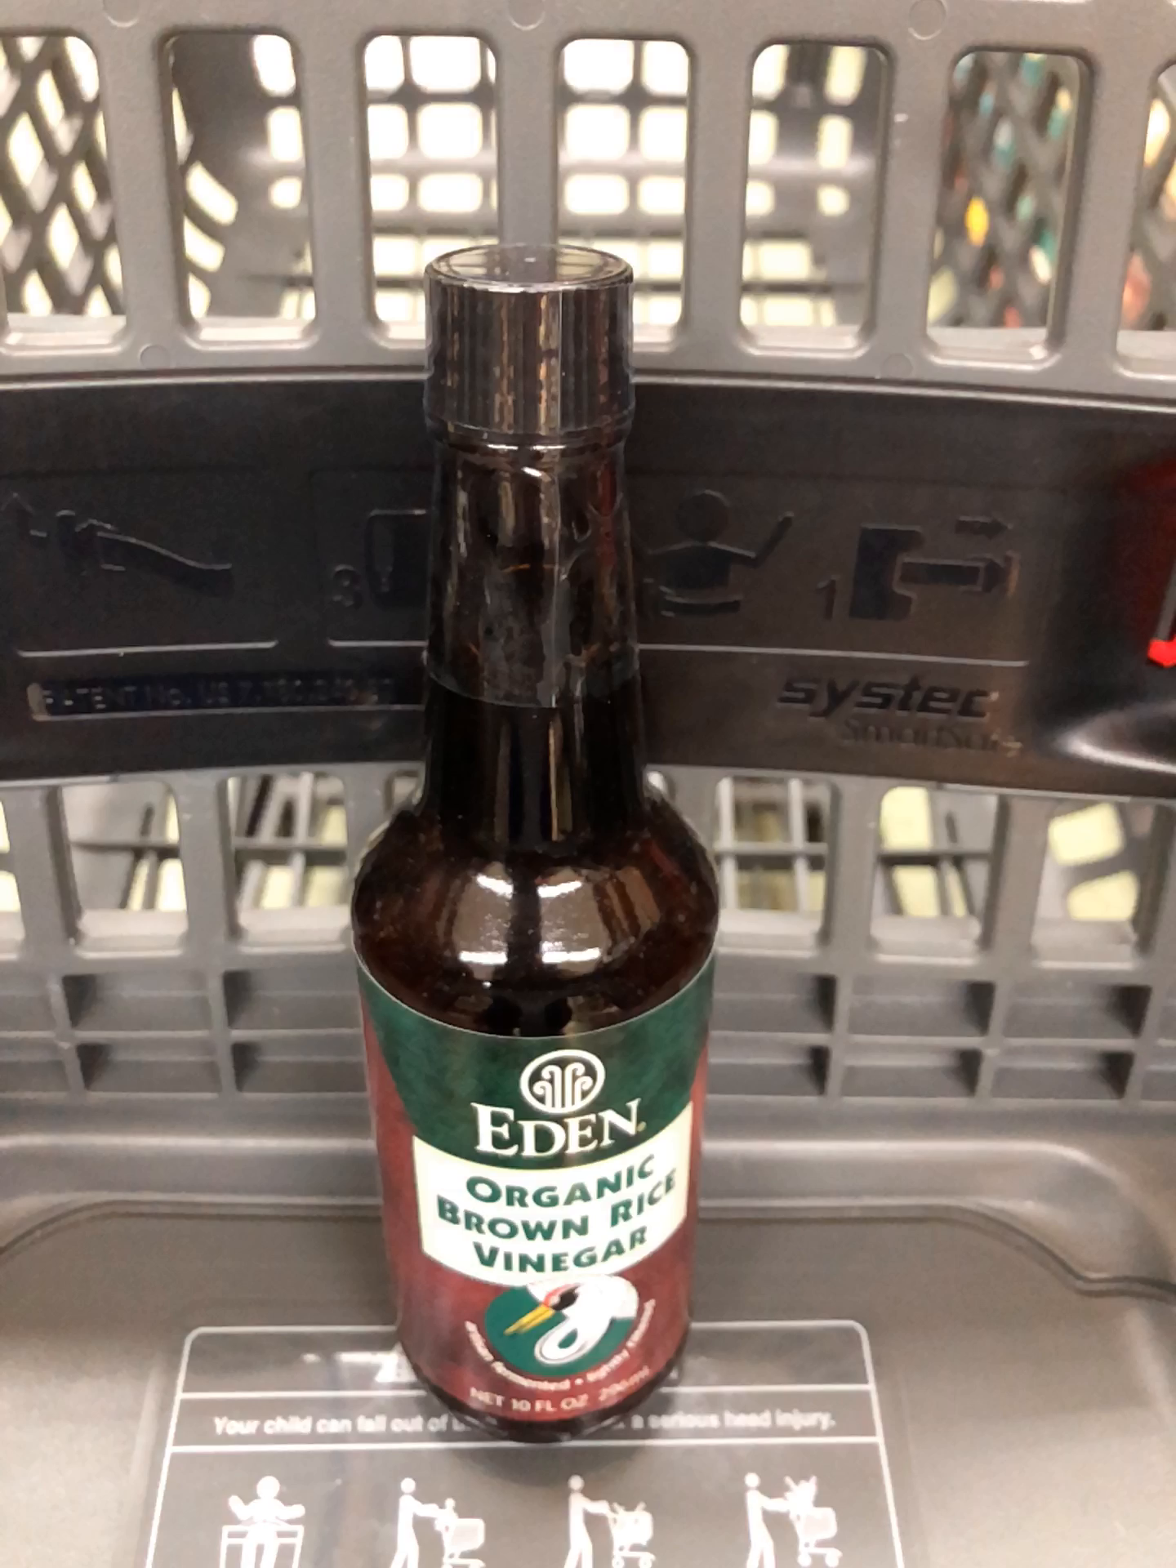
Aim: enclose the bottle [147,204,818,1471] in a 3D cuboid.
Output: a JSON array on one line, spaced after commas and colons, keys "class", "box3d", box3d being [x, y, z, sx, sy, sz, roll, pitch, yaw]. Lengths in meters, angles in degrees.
[{"class": "bottle", "box3d": [-0.011, 0.014, 0.213, 0.070, 0.190, 0.070, -1, 27, 1]}]
